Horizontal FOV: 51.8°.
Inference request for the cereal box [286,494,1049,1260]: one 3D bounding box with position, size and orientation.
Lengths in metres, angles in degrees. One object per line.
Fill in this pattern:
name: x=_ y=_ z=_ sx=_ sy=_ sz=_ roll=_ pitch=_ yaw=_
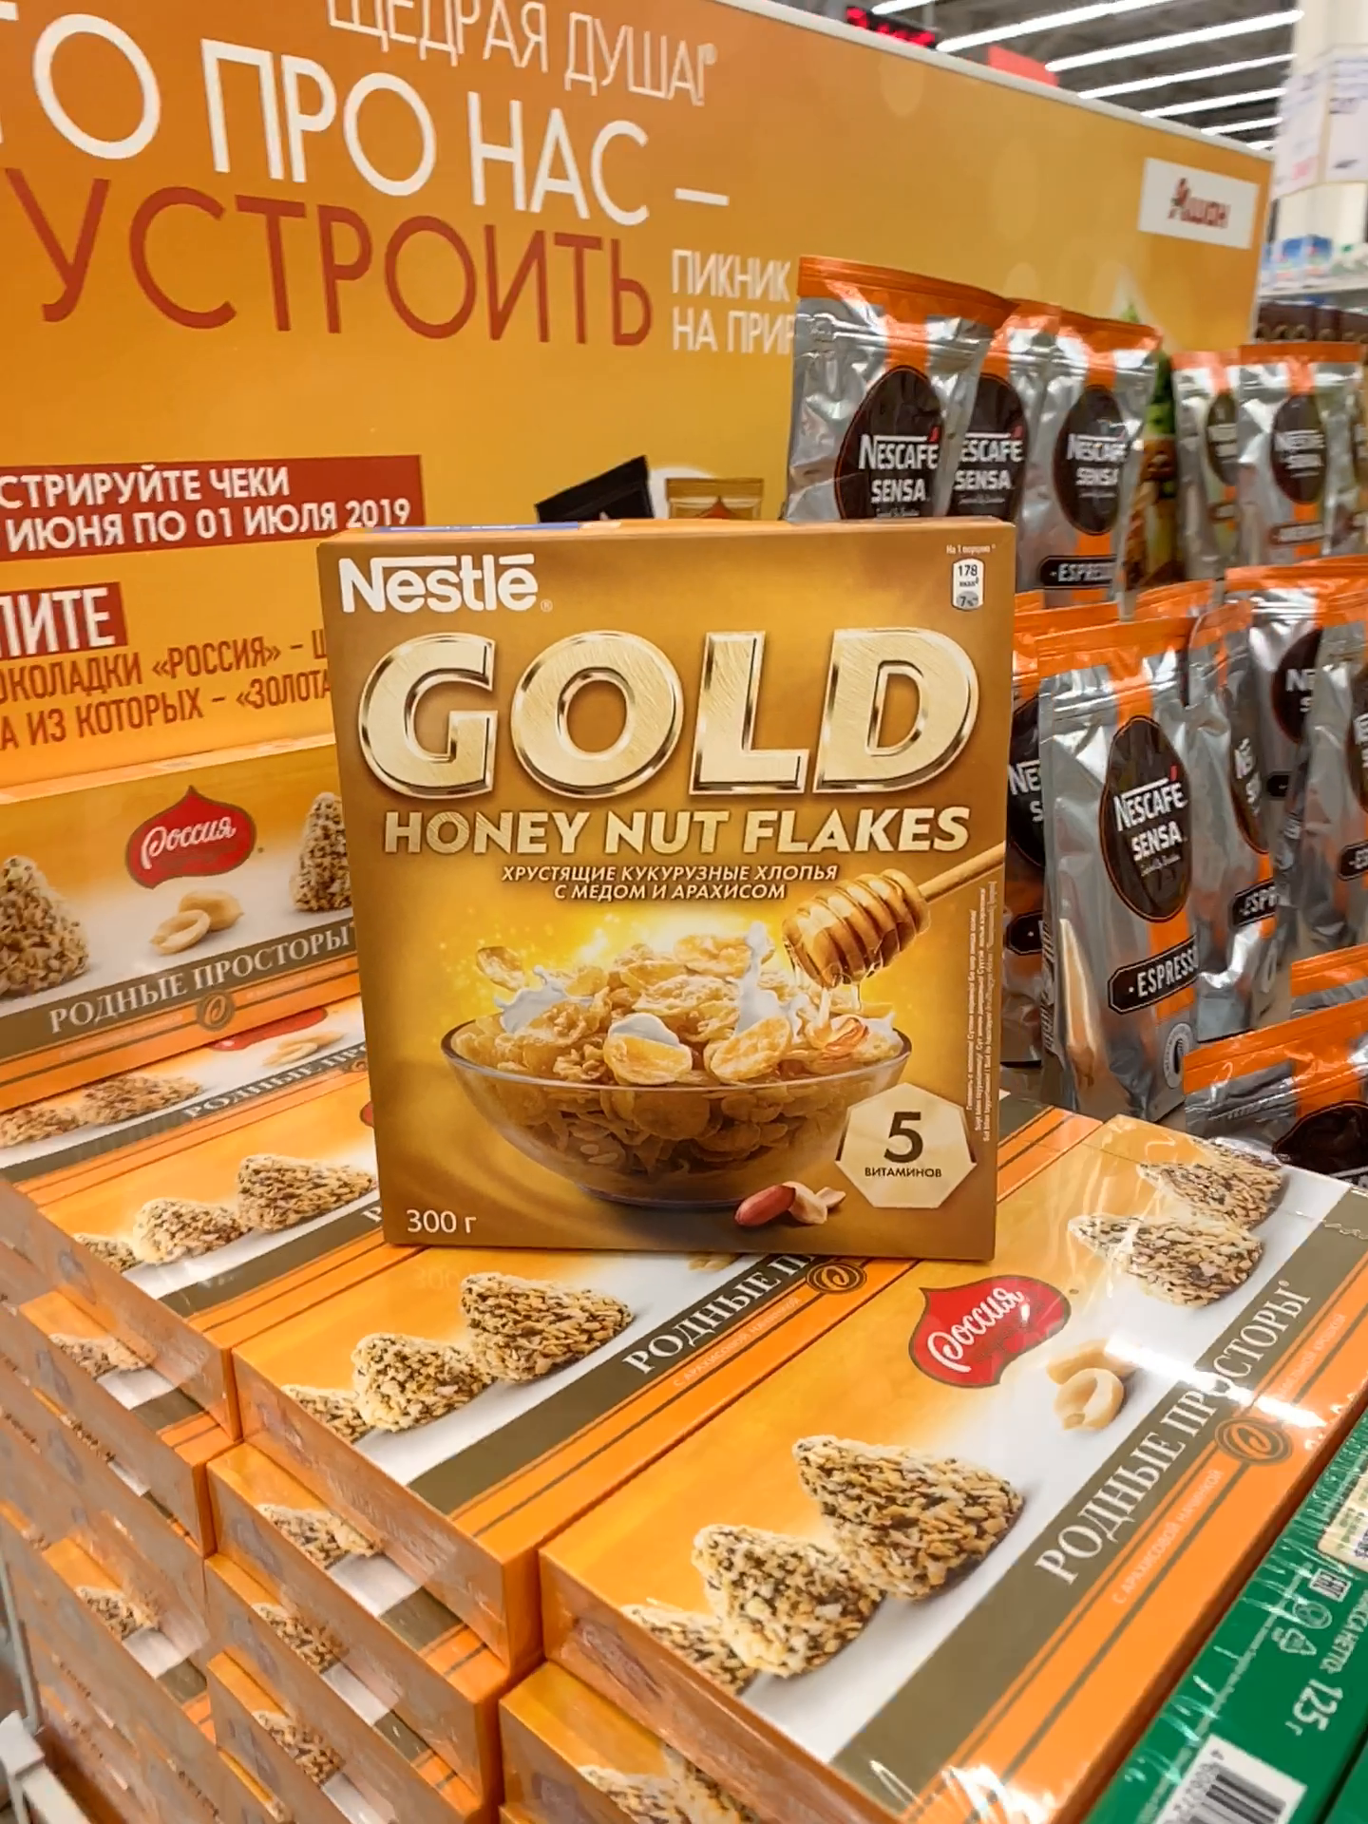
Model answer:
cereal box: x=-0.002 y=-0.010 z=0.429 sx=0.200 sy=0.219 sz=0.060 roll=0 pitch=18 yaw=5
